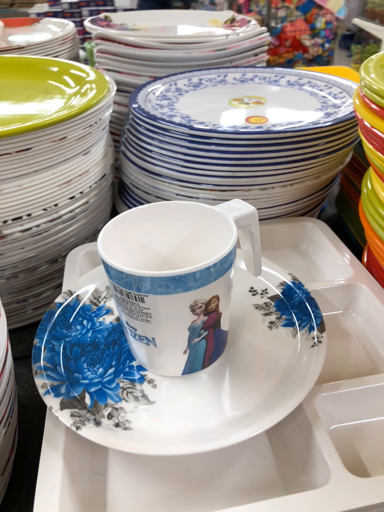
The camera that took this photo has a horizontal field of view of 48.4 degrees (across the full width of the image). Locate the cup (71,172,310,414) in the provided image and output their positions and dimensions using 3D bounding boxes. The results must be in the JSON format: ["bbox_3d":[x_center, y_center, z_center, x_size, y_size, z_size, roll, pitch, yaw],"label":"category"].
[{"bbox_3d":[-0.001,0.016,0.267,0.110,0.089,0.080,-19,38,-23],"label":"cup"}]
